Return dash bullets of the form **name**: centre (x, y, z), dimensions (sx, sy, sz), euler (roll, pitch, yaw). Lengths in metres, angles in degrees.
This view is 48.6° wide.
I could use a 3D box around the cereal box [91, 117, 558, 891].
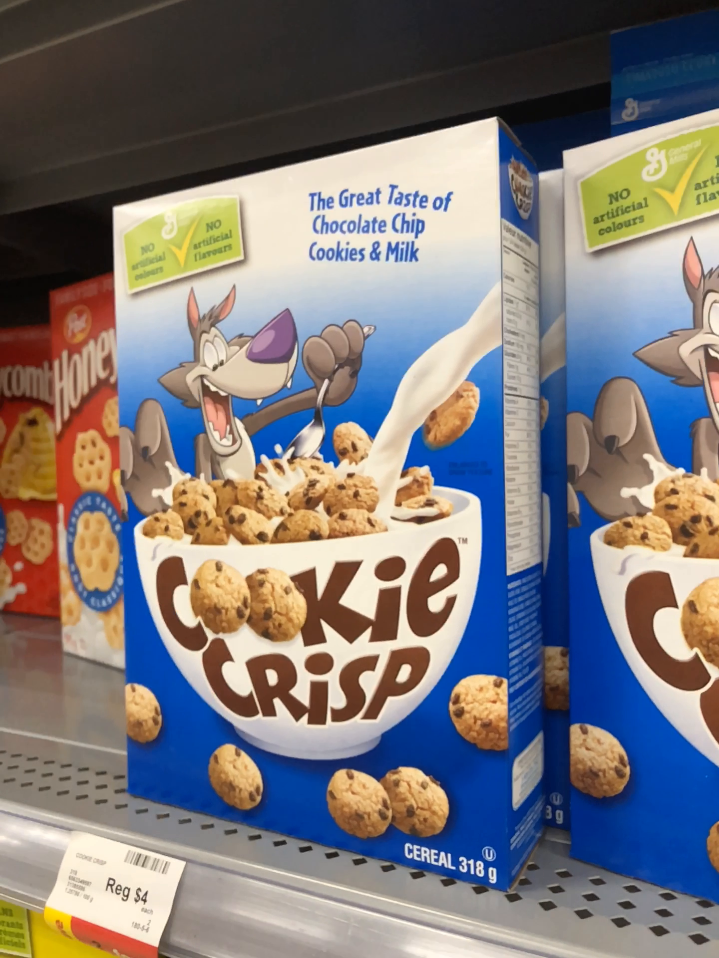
- **cereal box**: centre (-0.021, 0.010, 0.355), dimensions (0.200, 0.280, 0.050), euler (-1, 2, 27)
